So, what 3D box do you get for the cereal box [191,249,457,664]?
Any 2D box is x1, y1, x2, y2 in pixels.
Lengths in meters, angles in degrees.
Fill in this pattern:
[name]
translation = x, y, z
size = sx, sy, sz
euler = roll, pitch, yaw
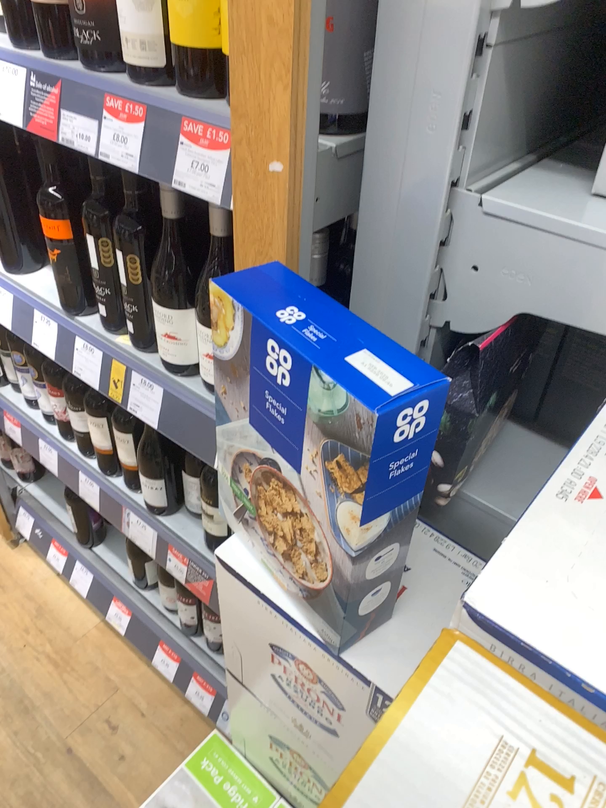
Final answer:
[cereal box]
translation = 0.000, 0.045, 0.503
size = 0.070, 0.267, 0.201
euler = -24, 46, -29
